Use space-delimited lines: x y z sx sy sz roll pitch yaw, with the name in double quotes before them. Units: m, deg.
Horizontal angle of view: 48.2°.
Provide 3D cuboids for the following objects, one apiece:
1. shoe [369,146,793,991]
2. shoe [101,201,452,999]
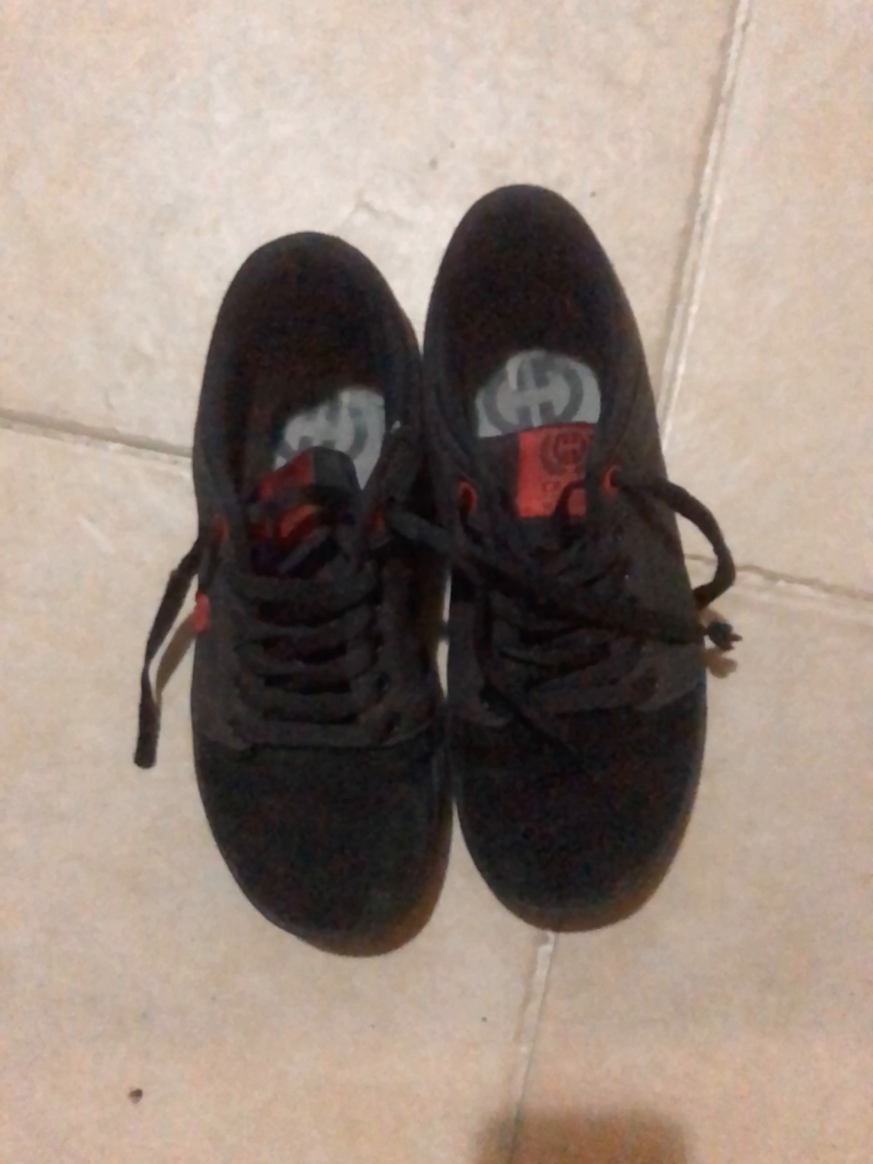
"shoe" 0.042 -0.004 0.335 0.100 0.100 0.240 -5 86 2
"shoe" -0.050 0.006 0.347 0.100 0.100 0.240 -2 86 3
